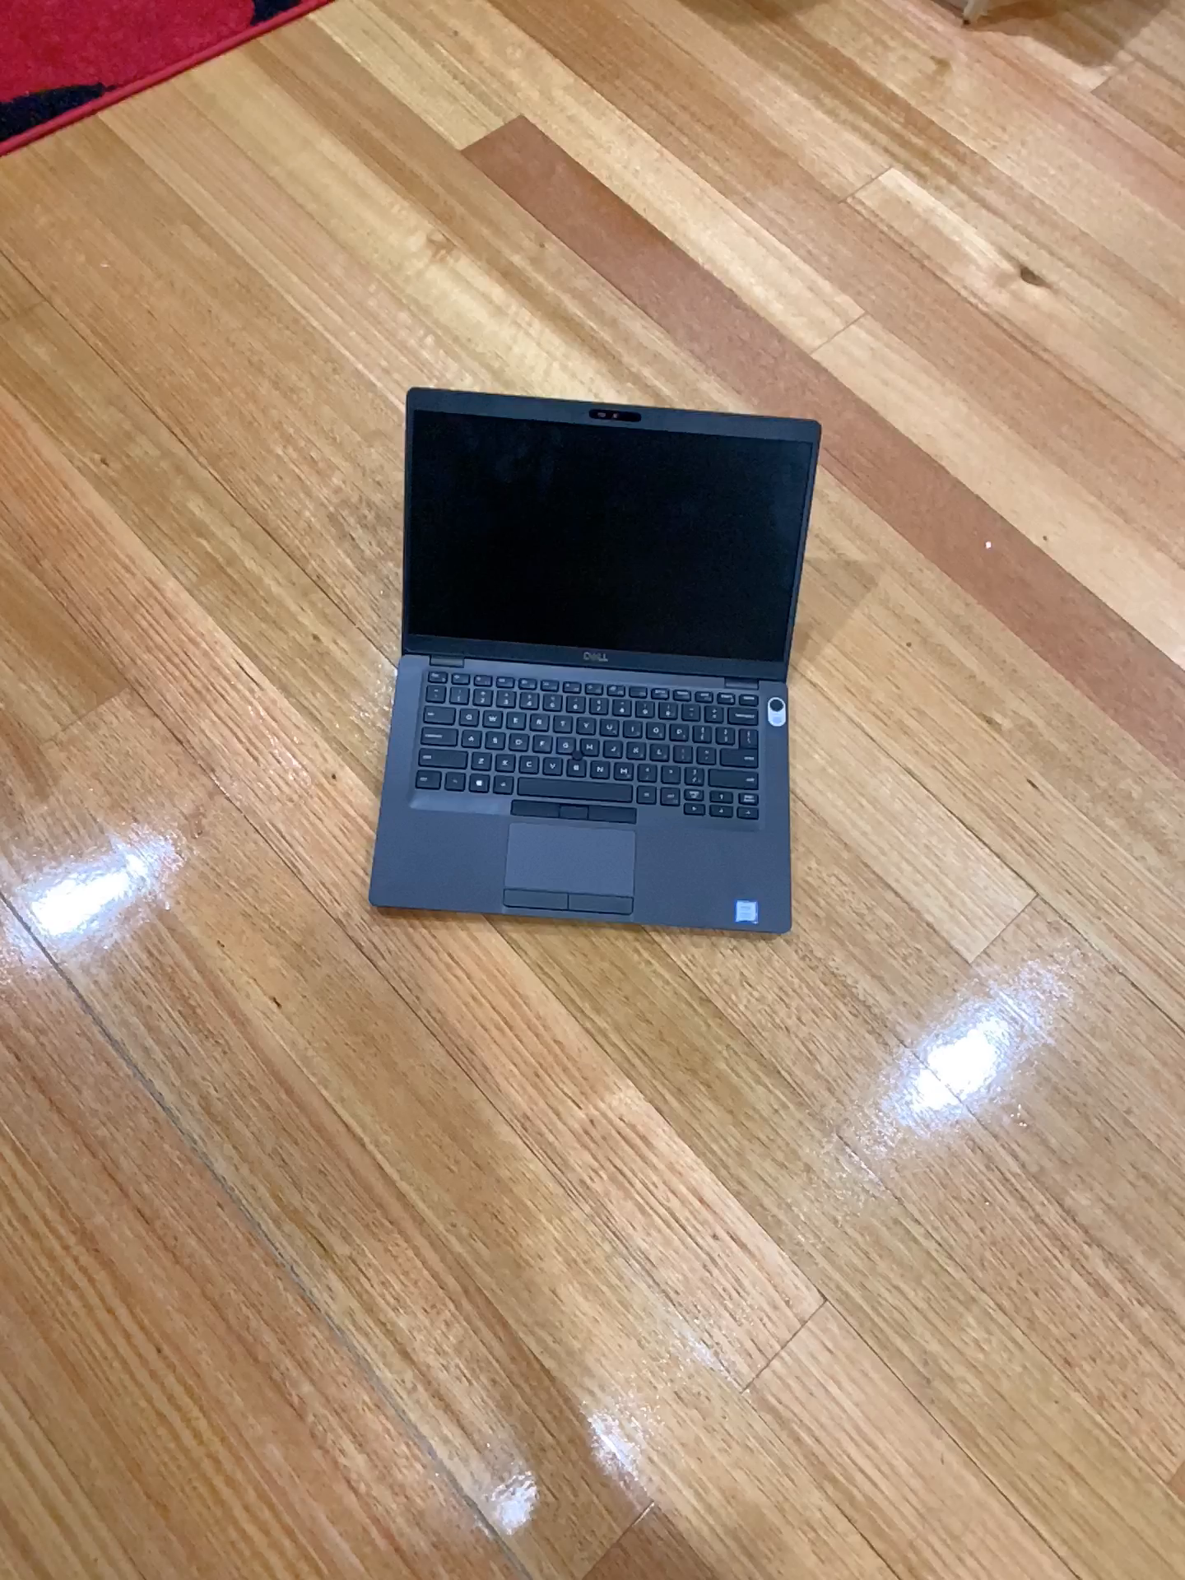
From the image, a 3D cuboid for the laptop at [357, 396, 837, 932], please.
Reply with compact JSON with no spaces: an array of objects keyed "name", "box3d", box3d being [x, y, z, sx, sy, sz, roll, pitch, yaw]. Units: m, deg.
[{"name":"laptop","box3d":[0.011,-0.099,0.938,0.320,0.134,0.372,5,67,-2]}]
